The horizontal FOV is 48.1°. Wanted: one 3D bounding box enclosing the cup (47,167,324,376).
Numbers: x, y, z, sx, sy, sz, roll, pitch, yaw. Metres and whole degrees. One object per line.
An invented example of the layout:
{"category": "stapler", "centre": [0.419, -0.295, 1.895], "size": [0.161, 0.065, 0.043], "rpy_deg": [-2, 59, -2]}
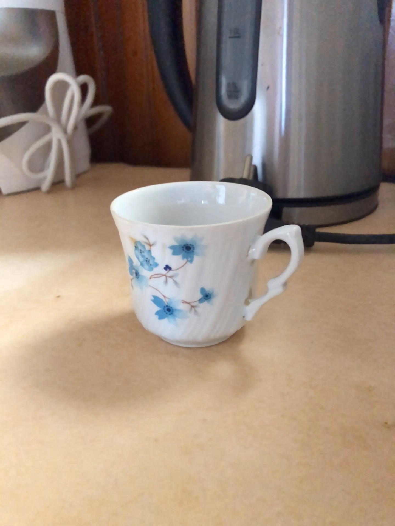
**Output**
{"category": "cup", "centre": [-0.003, -0.006, 0.191], "size": [0.090, 0.050, 0.070], "rpy_deg": [13, 28, 30]}
